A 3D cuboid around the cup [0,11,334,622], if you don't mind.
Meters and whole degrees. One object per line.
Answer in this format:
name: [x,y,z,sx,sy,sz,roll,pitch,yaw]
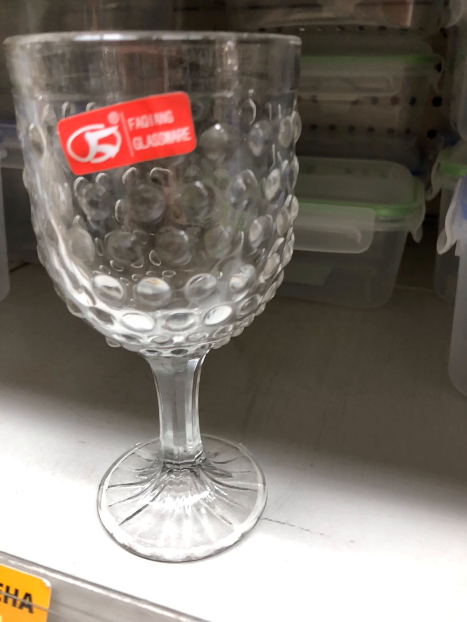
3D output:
cup: [-0.021,-0.001,0.171,0.081,0.160,0.087,0,24,0]
